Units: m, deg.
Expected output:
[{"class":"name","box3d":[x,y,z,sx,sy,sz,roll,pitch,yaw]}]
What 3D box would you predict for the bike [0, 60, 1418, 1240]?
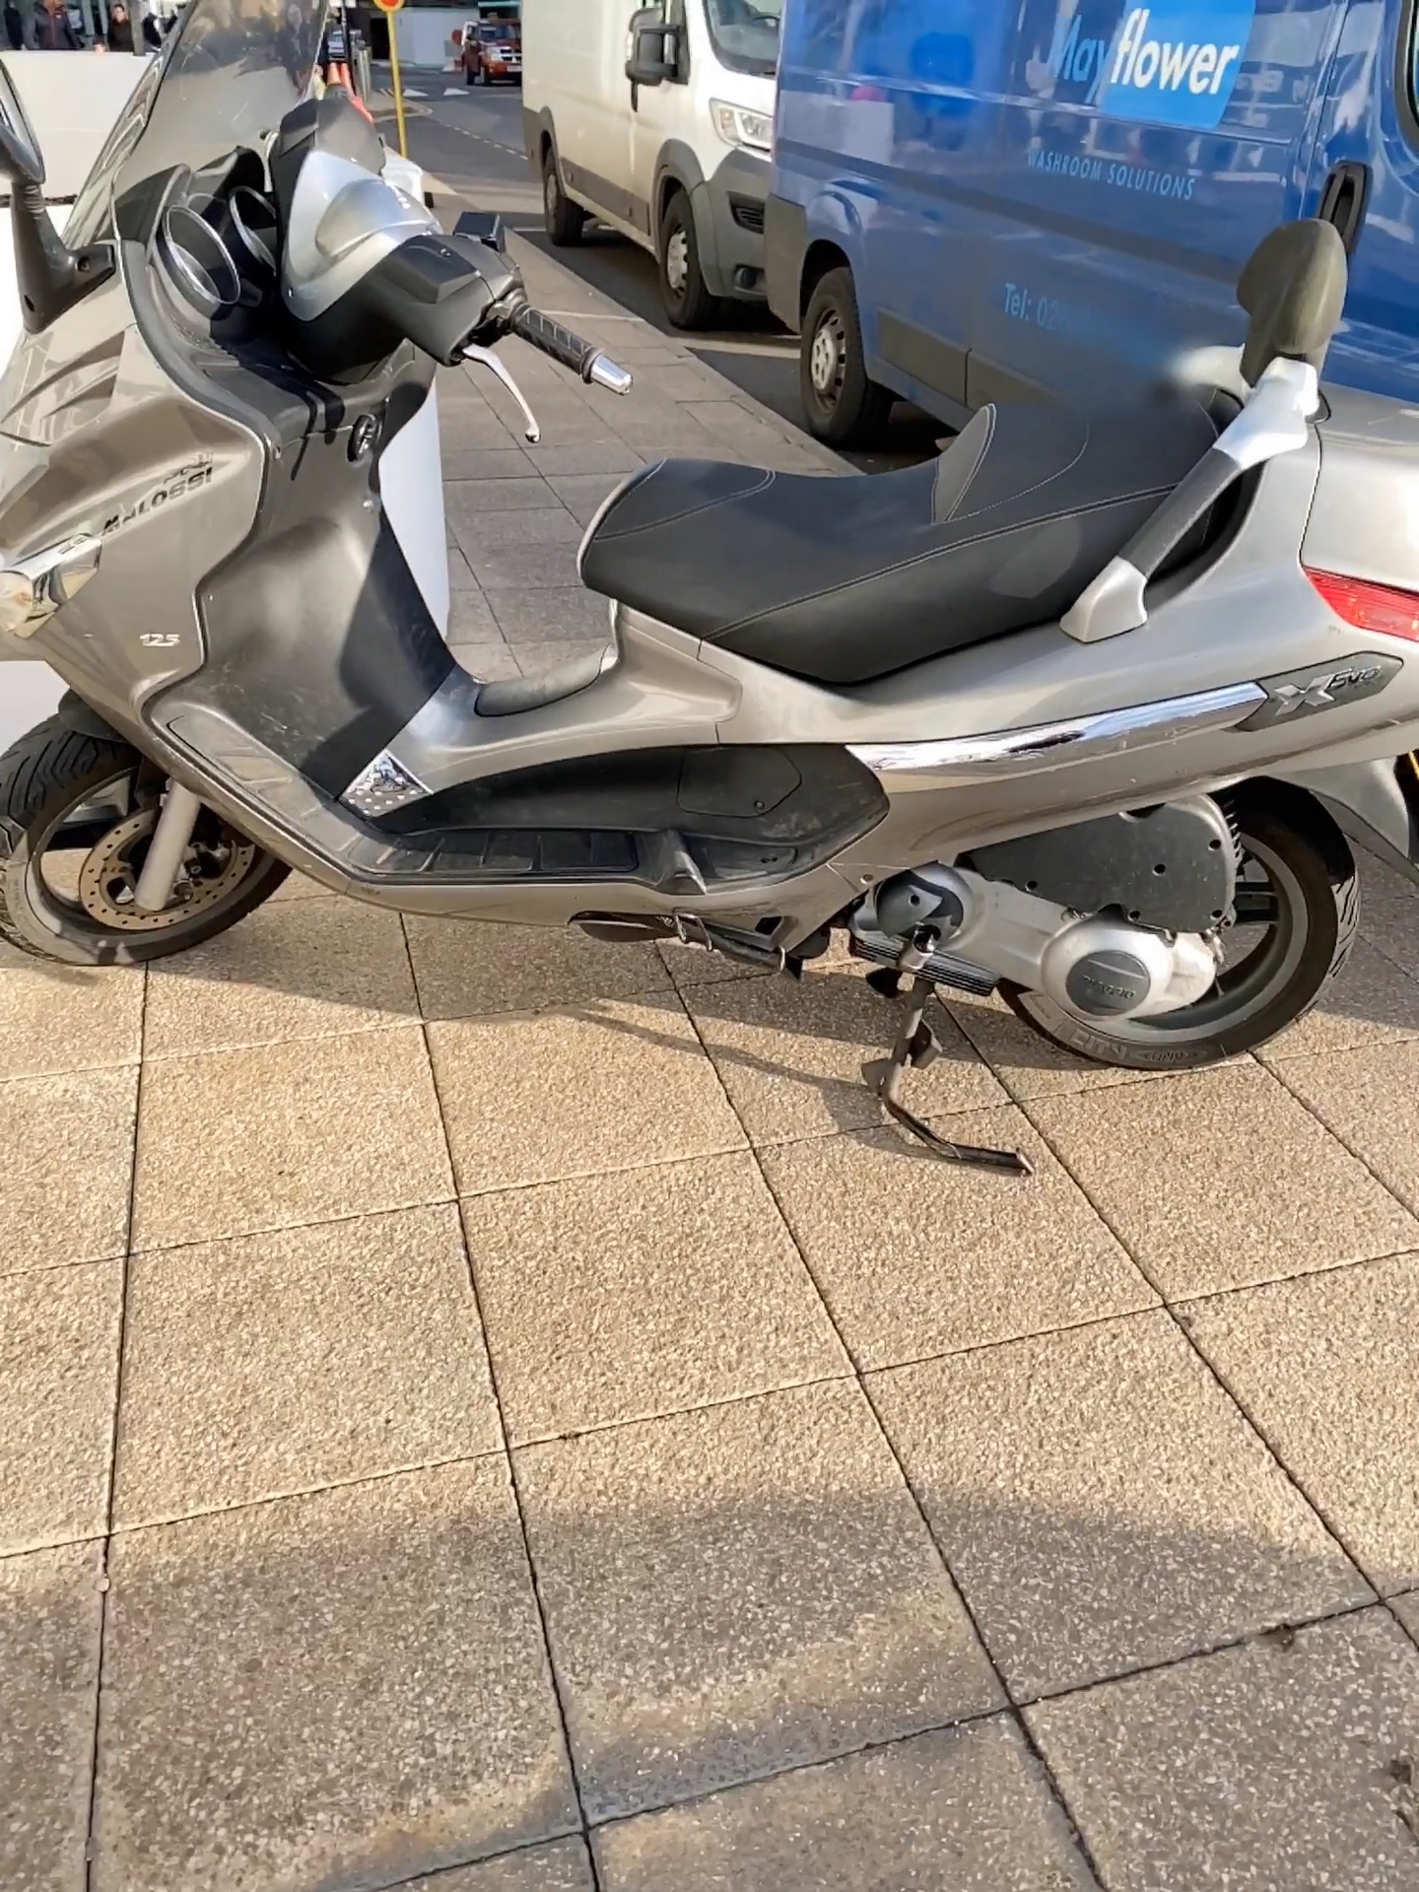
[{"class":"bike","box3d":[-0.055,-0.335,1.605,1.653,1.062,0.658,3,32,2]}]
